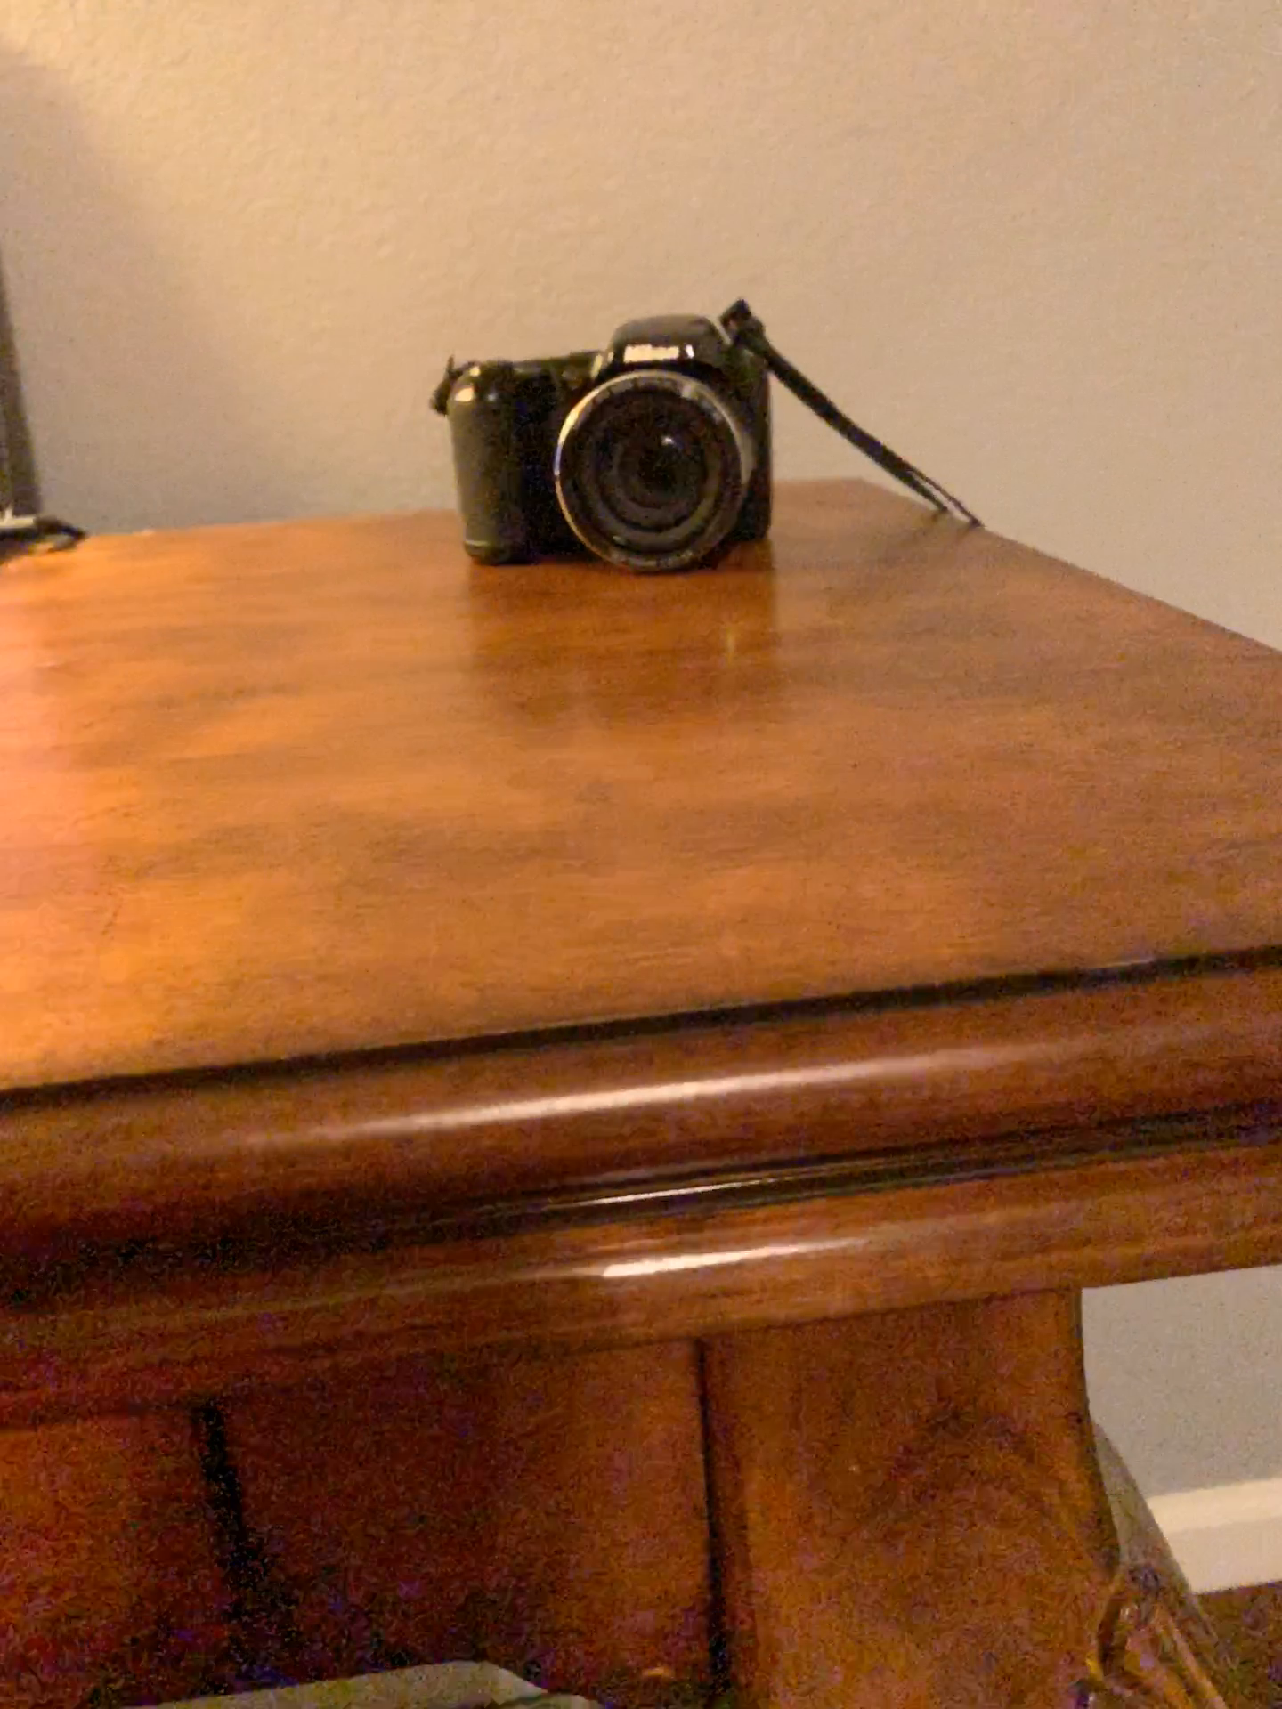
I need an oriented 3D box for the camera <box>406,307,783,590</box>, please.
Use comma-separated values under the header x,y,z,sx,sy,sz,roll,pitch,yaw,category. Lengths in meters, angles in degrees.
x,y,z,sx,sy,sz,roll,pitch,yaw,category
-0.008,-0.151,0.486,0.110,0.081,0.123,0,21,10,camera
